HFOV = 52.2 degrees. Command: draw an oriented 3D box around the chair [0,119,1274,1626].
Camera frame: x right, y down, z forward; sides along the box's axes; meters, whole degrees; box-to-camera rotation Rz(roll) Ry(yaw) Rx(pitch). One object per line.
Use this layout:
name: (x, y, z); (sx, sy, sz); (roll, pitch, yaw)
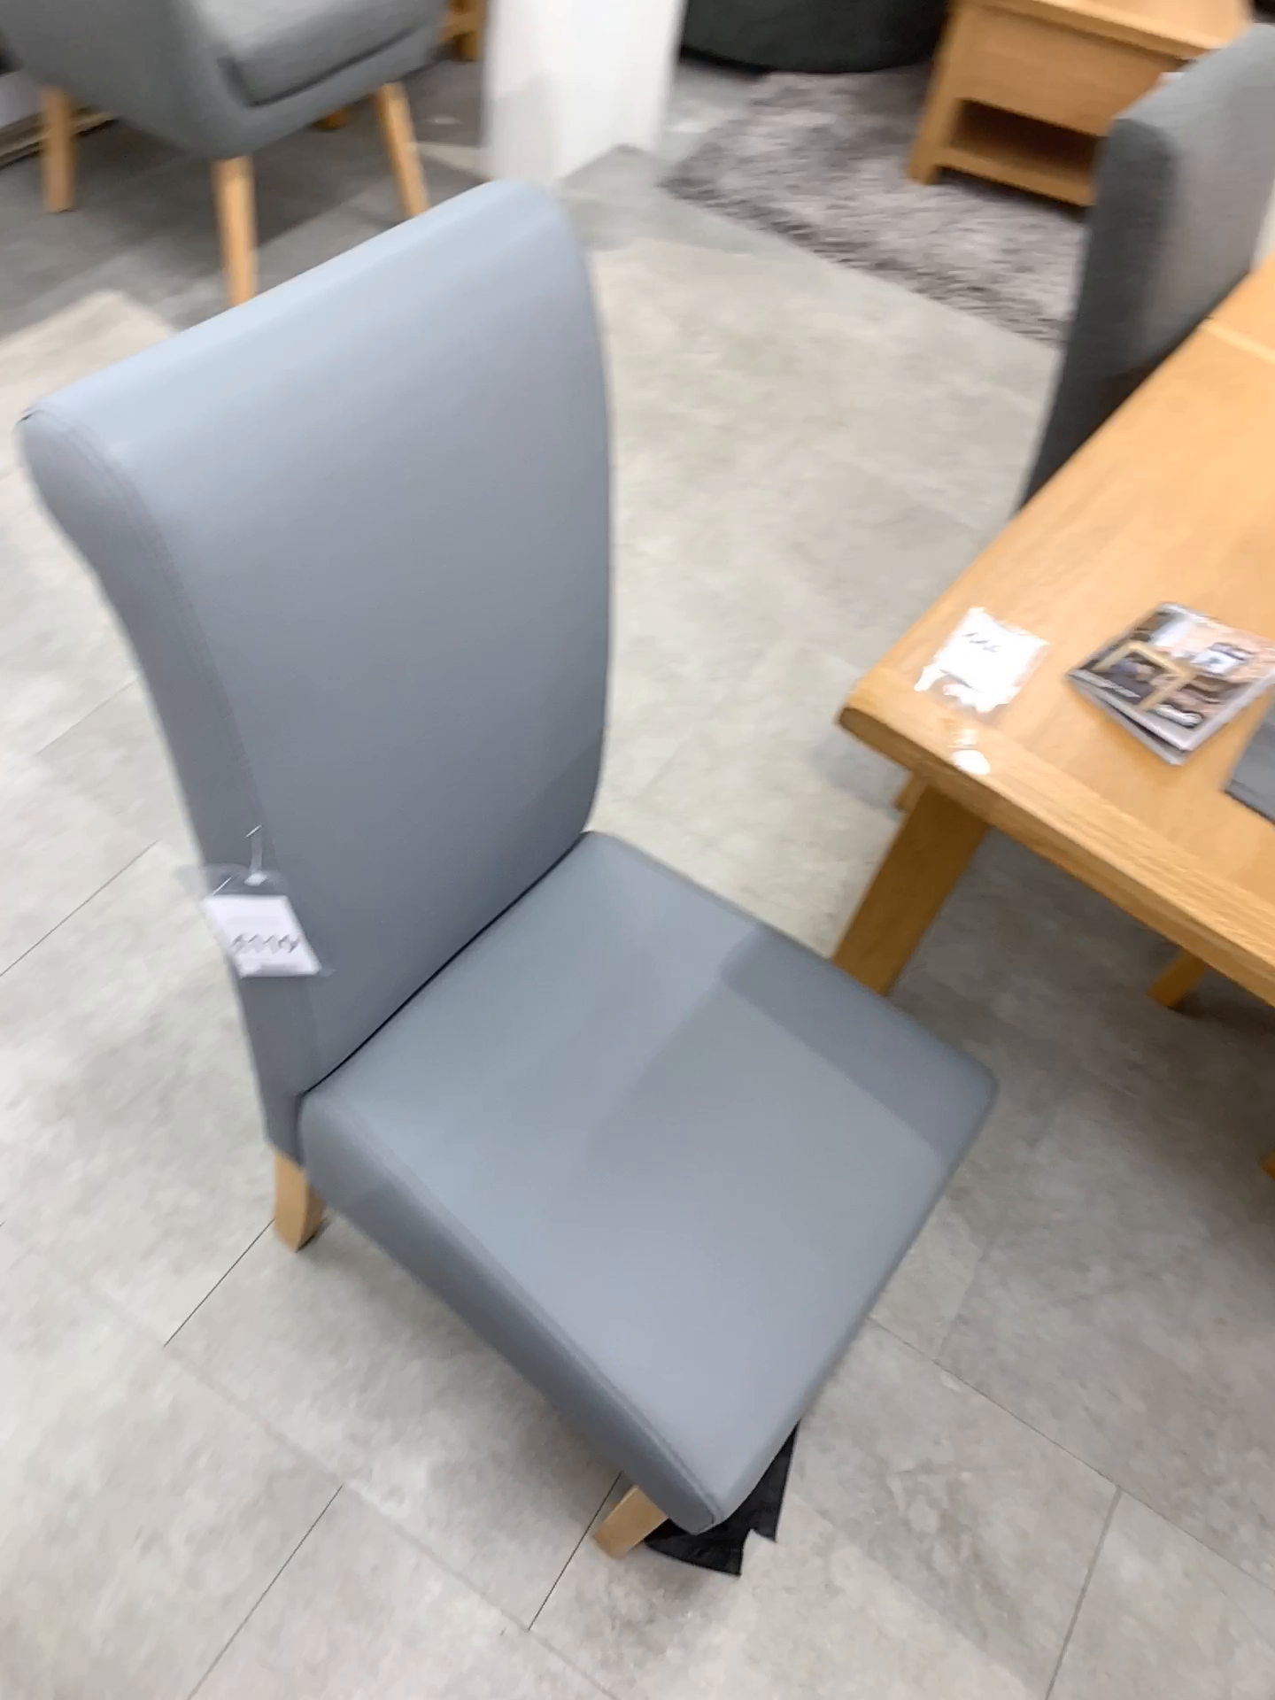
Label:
chair: (-0.043, 0.101, 1.012); (0.655, 0.908, 0.475); (35, 56, 15)
